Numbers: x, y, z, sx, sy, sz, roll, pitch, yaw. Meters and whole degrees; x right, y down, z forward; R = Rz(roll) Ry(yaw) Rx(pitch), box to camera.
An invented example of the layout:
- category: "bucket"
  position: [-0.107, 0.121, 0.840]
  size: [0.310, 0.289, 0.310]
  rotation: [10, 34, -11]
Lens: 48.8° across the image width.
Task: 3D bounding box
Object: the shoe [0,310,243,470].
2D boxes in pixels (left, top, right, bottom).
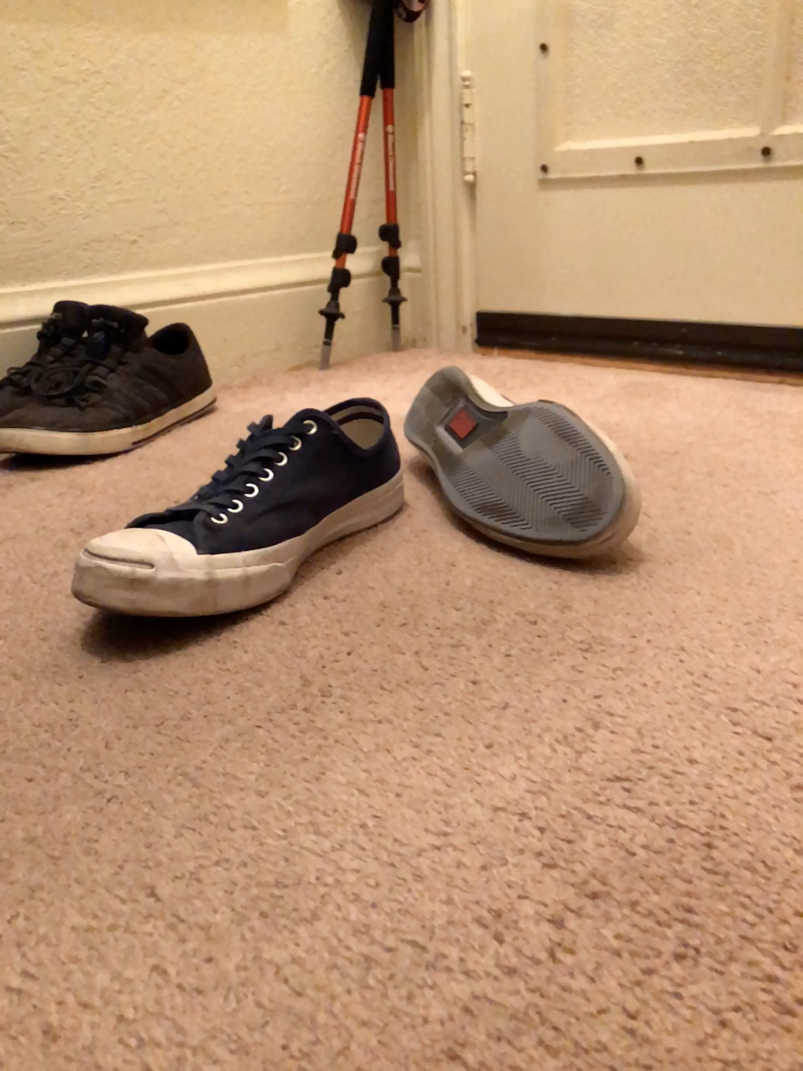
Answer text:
- category: "shoe"
  position: [-0.278, -0.157, 0.882]
  size: [0.106, 0.099, 0.297]
  rotation: [6, 21, 17]

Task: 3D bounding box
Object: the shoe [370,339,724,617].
- category: "shoe"
  position: [0.086, -0.059, 0.669]
  size: [0.099, 0.104, 0.297]
  rotation: [19, 12, -27]

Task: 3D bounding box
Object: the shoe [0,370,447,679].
- category: "shoe"
  position: [-0.095, -0.029, 0.581]
  size: [0.116, 0.099, 0.287]
  rotation: [11, 25, 32]
